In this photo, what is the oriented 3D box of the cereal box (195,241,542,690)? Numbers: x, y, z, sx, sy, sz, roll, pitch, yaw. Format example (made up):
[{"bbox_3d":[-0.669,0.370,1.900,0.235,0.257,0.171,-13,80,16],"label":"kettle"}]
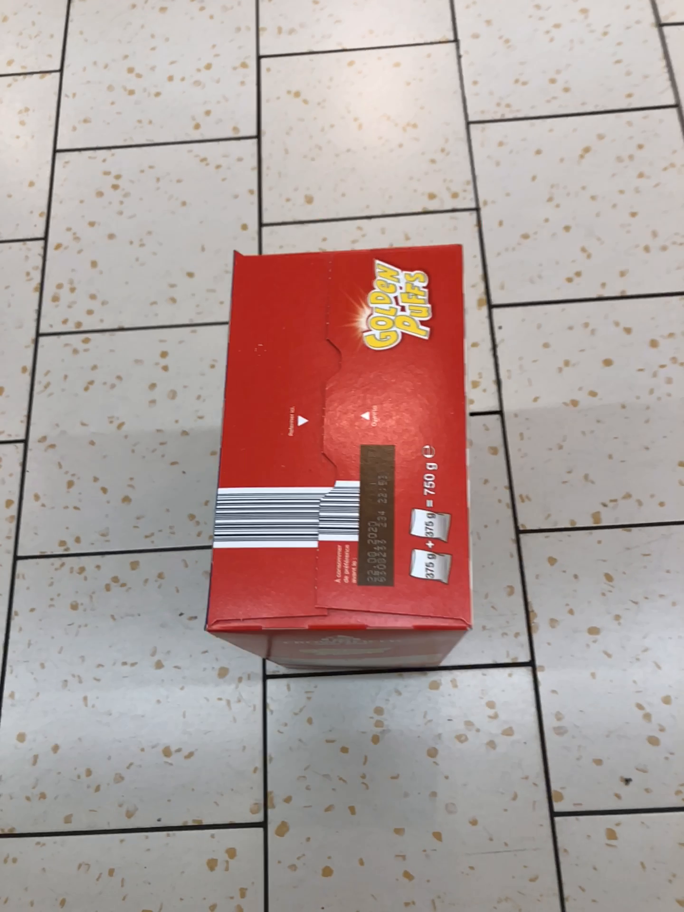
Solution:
[{"bbox_3d":[0.019,0.031,0.455,0.140,0.250,0.200,0,71,4],"label":"cereal box"}]
